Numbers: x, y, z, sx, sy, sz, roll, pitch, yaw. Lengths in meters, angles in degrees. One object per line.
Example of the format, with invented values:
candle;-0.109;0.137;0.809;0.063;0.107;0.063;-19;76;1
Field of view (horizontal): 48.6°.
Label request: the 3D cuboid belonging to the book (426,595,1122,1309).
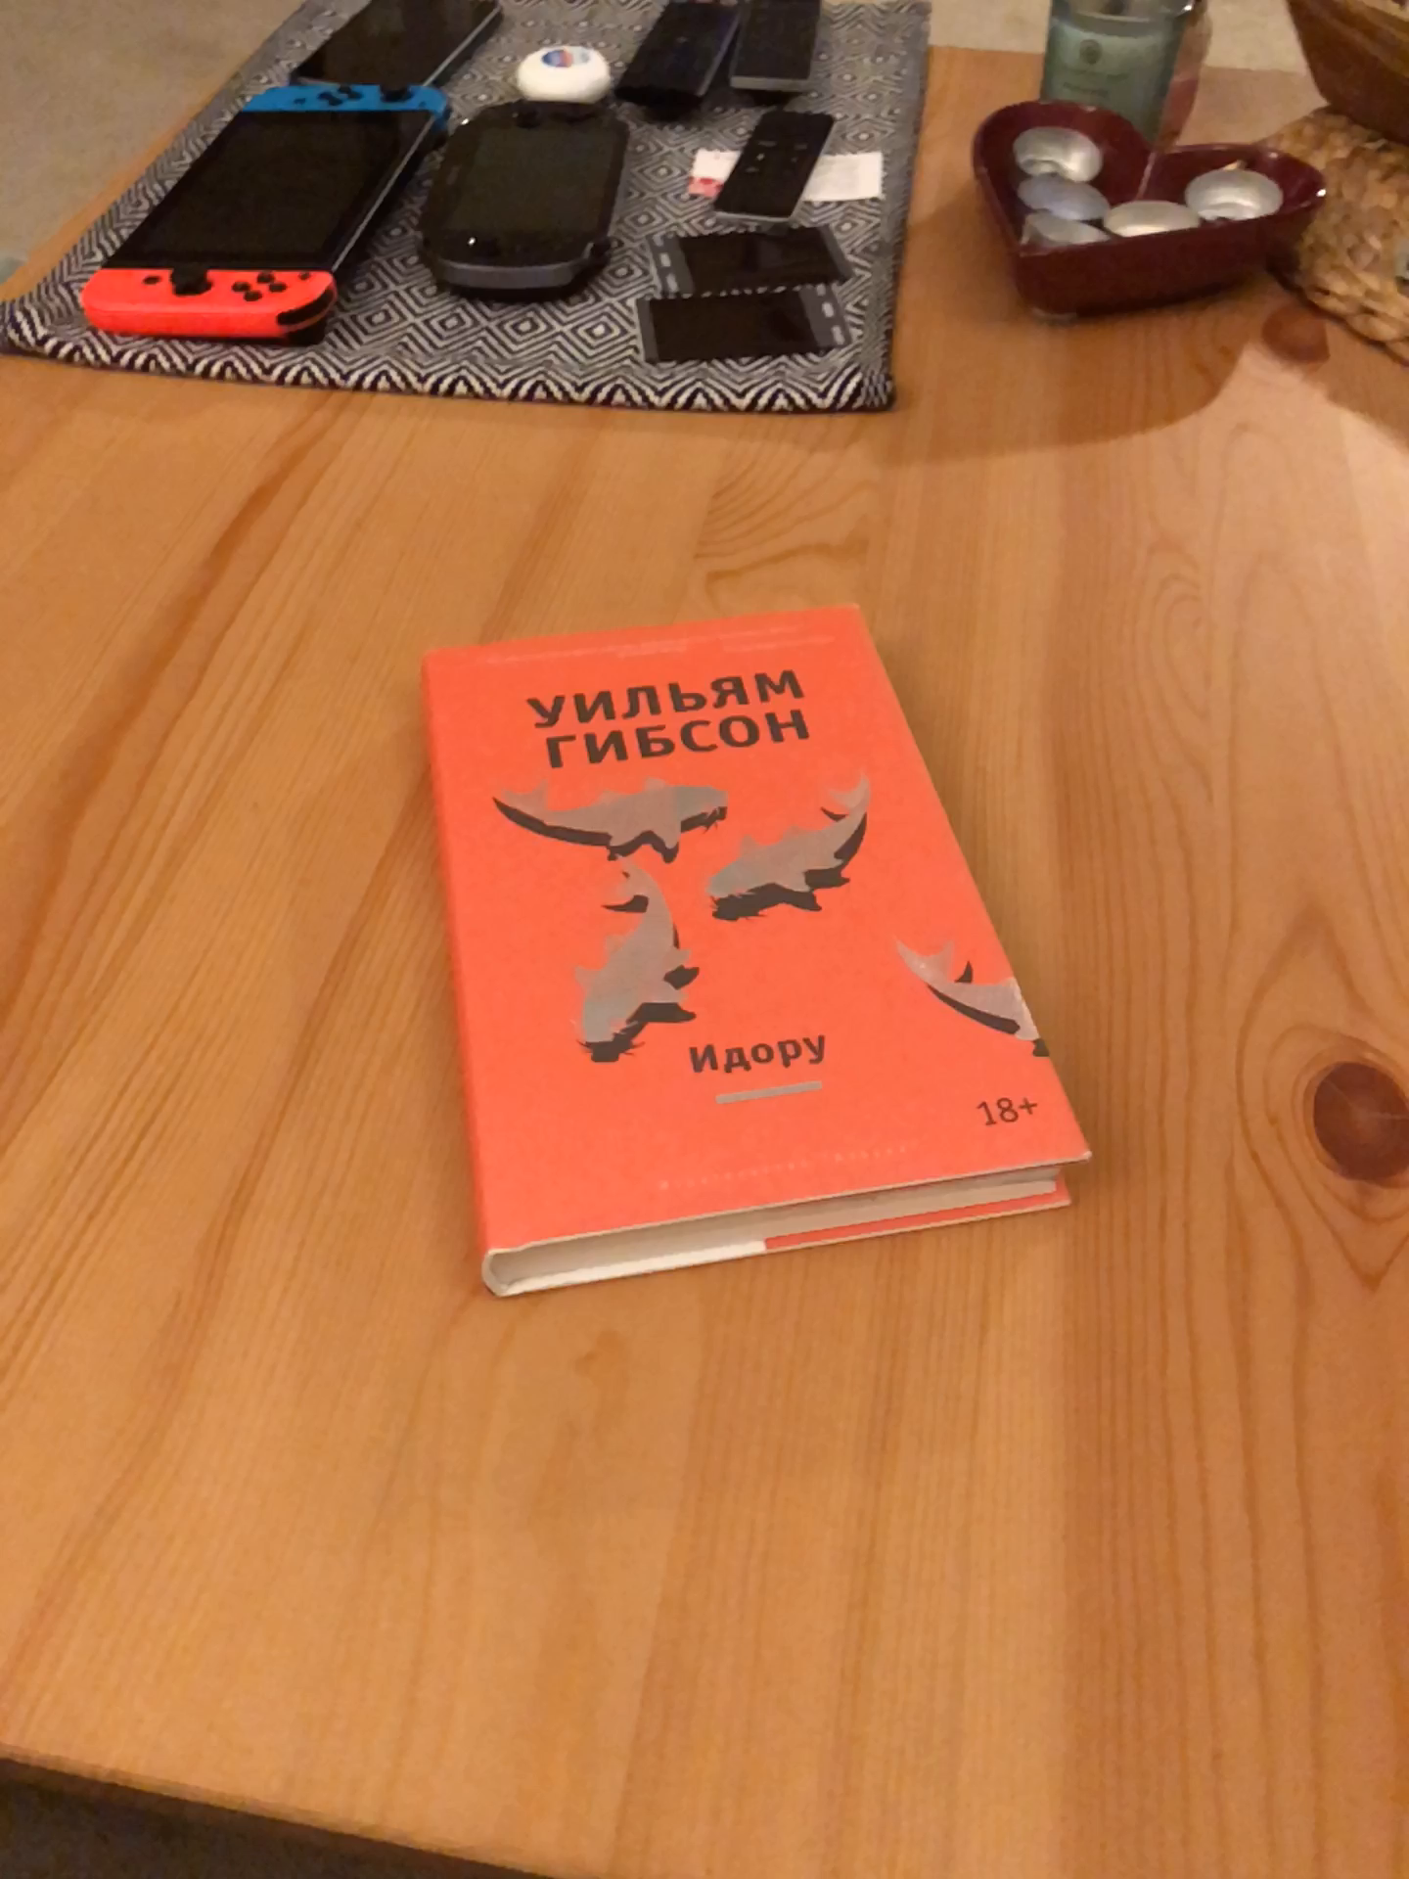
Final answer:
book;0.004;-0.013;0.401;0.134;0.020;0.208;-8;48;-8
